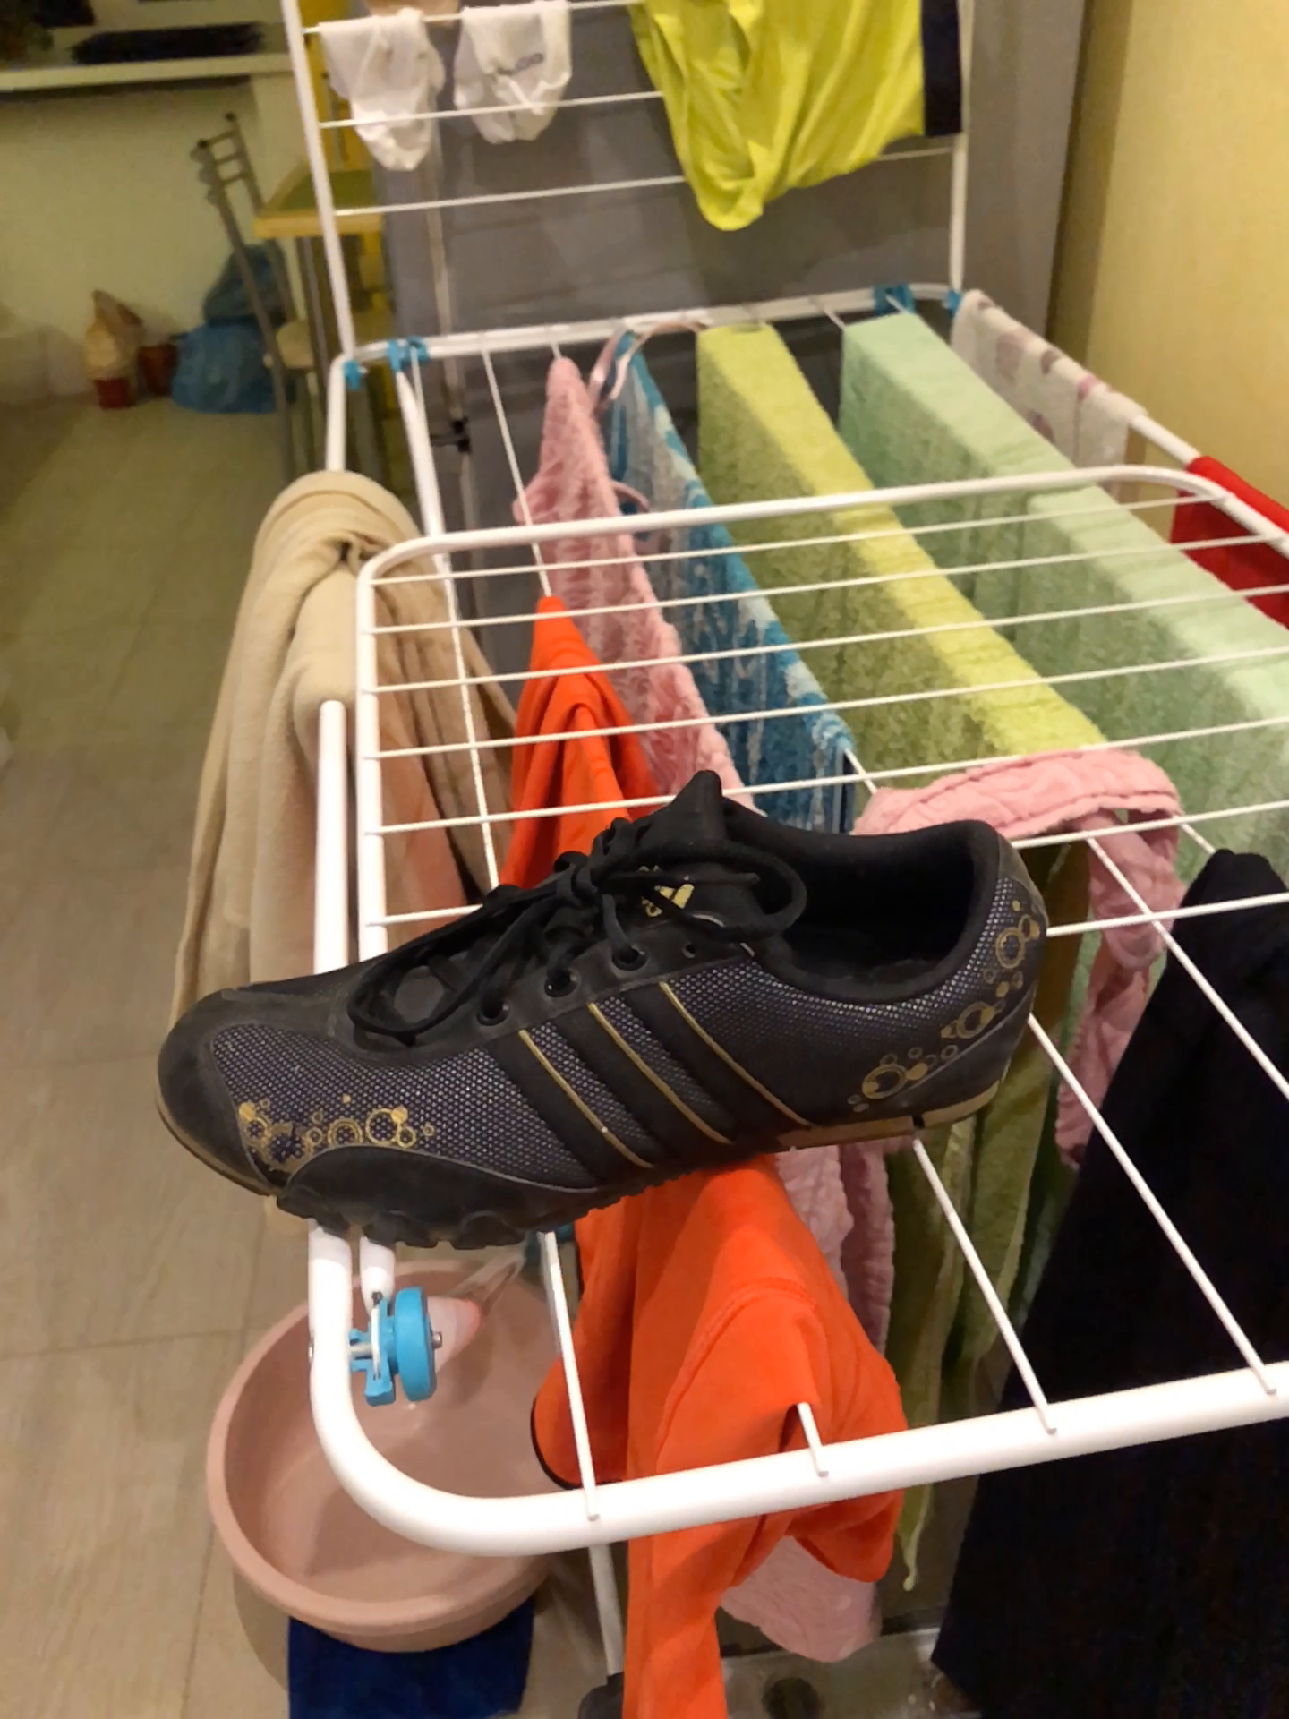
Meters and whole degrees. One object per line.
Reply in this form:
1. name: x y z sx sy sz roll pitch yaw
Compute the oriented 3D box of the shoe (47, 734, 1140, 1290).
1. shoe: -0.011 0.041 0.406 0.260 0.099 0.099 -4 34 -1
